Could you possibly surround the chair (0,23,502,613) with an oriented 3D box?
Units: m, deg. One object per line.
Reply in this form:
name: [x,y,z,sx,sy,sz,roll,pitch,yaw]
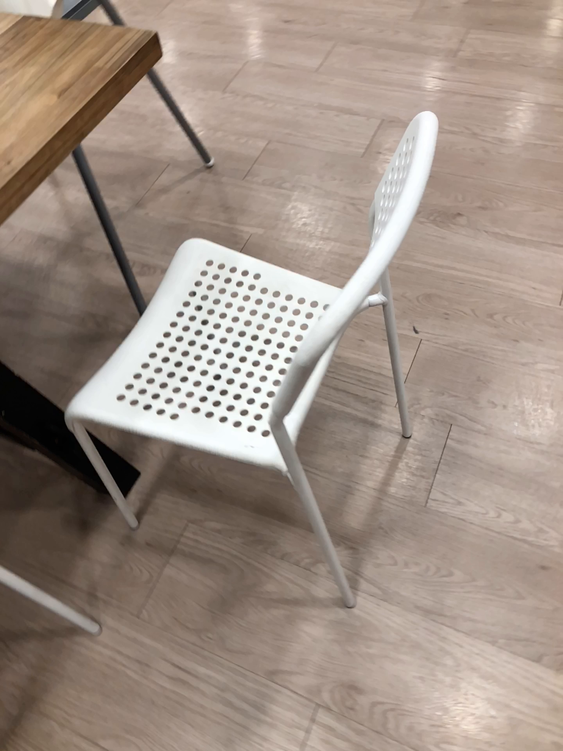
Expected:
chair: [-0.021,-0.033,0.909,0.451,0.696,0.421,18,59,18]
